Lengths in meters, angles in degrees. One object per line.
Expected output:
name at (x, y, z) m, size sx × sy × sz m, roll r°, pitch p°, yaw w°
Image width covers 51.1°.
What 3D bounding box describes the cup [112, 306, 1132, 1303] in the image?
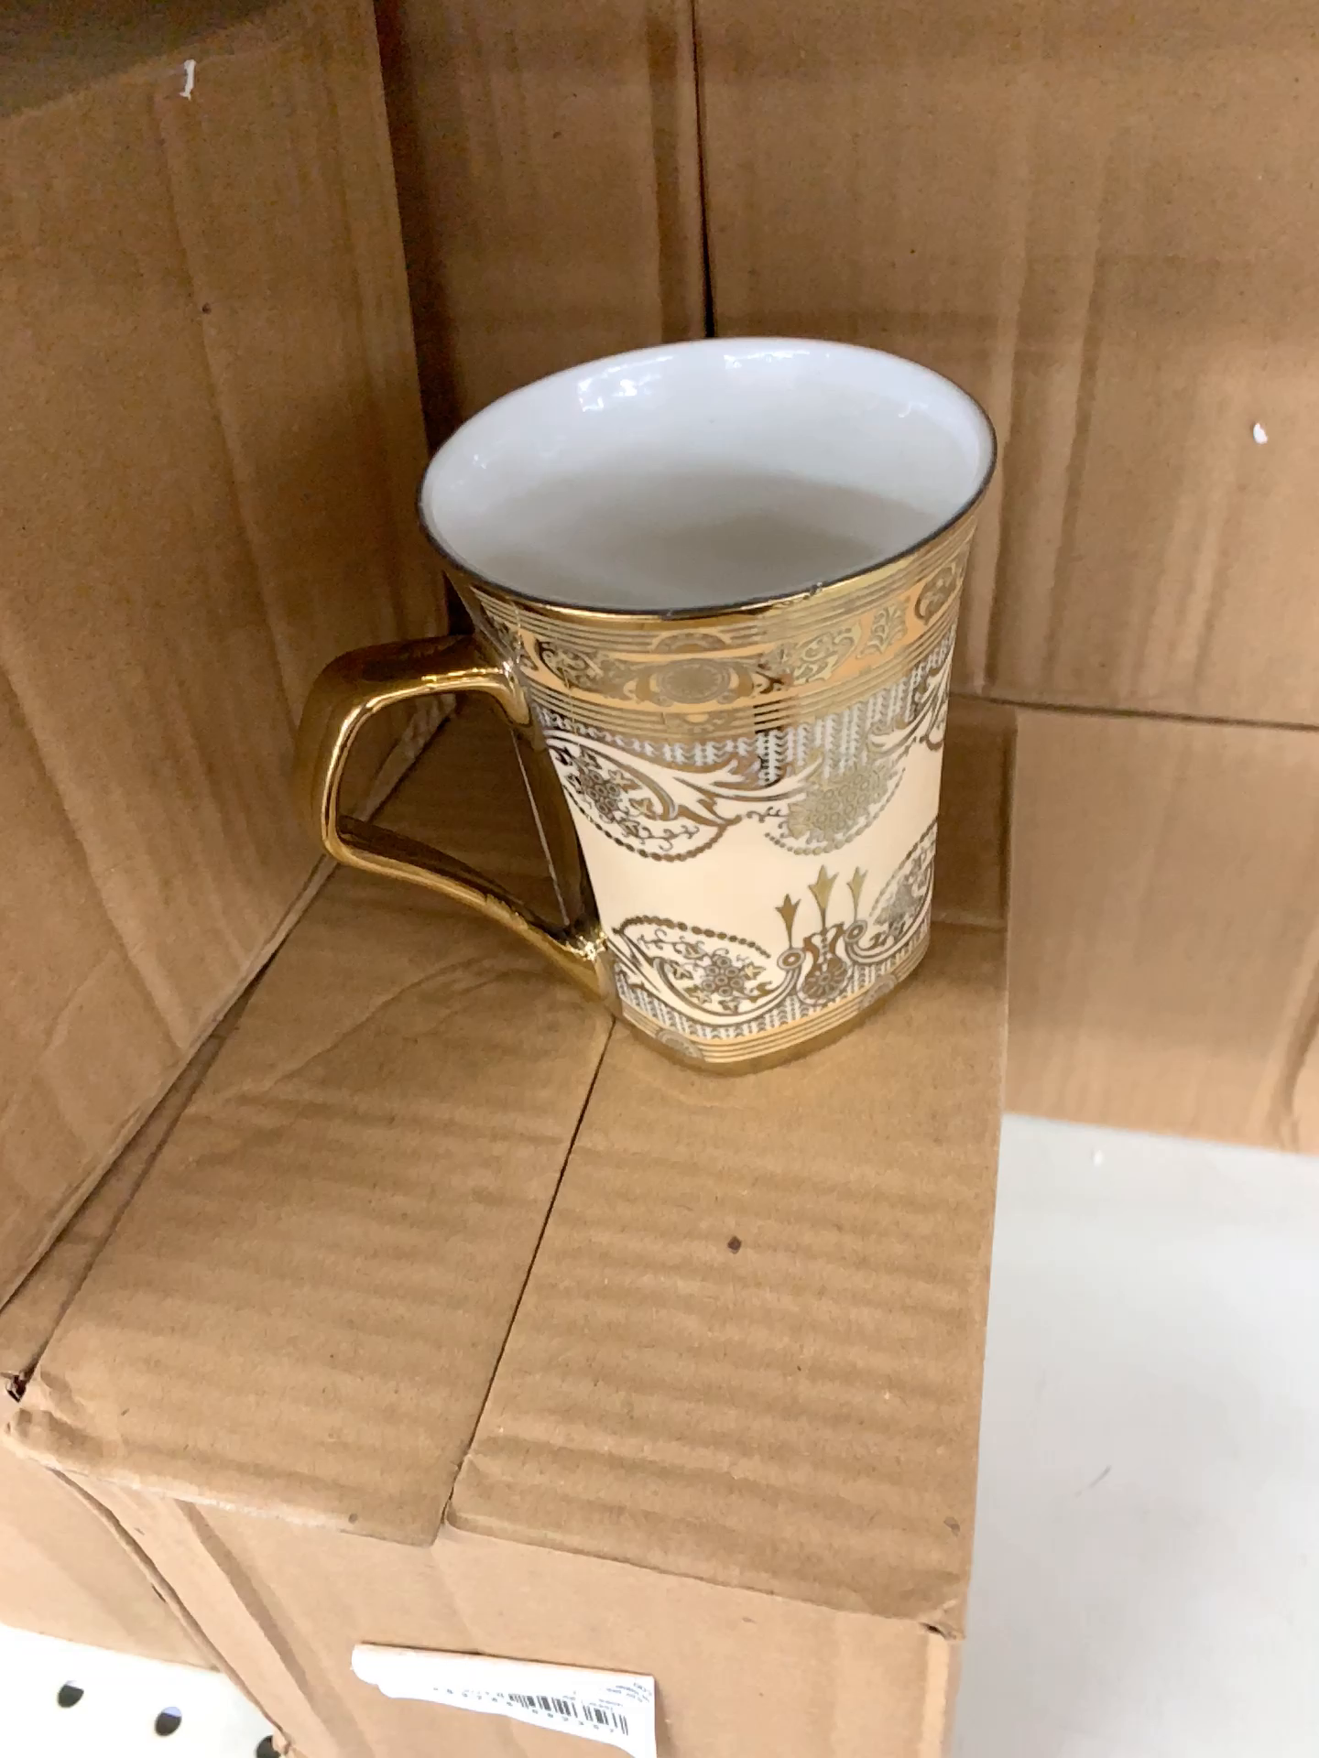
cup at (-0.004, -0.016, 0.213) m, size 0.110 × 0.089 × 0.080 m, roll -27°, pitch 47°, yaw -20°
